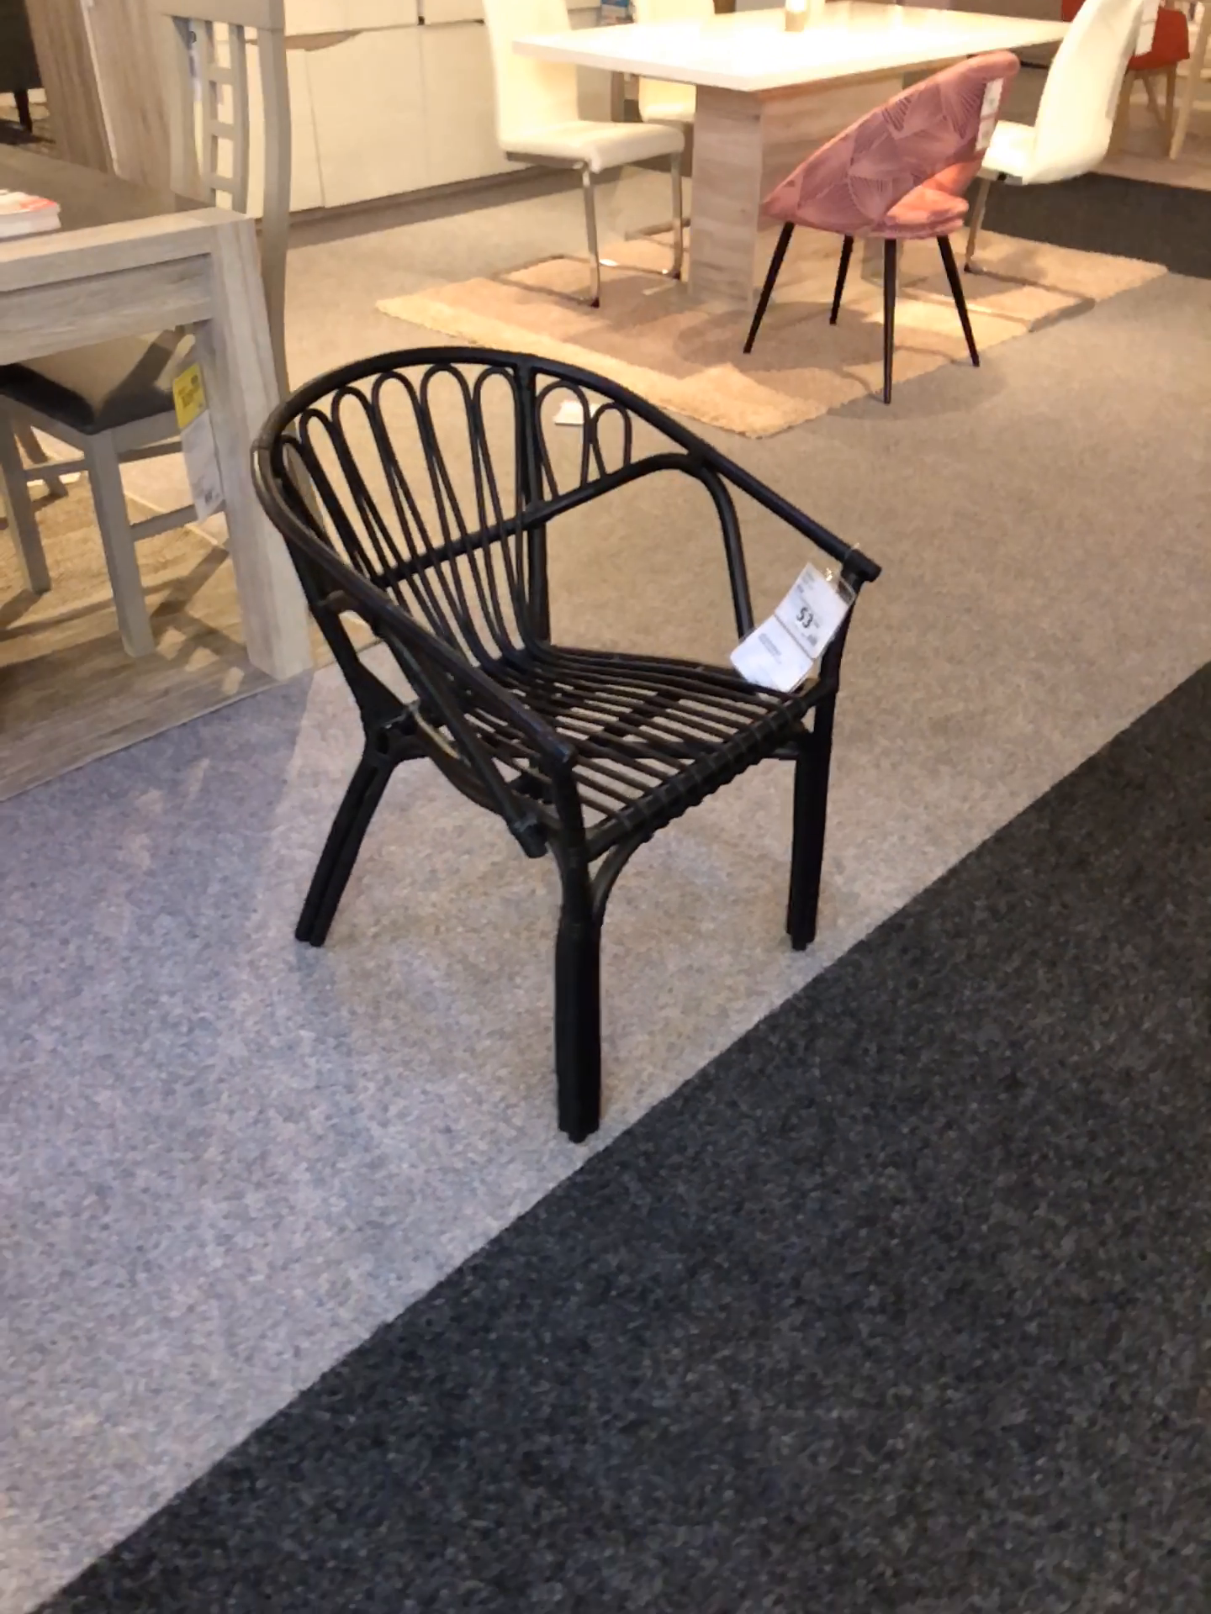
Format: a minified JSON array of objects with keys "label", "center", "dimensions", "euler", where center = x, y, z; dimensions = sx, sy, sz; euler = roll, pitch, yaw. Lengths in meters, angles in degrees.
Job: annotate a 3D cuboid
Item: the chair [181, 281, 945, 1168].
[{"label":"chair","center":[-0.045,-0.132,1.550],"dimensions":[0.561,0.735,0.533],"euler":[29,44,34]}]
